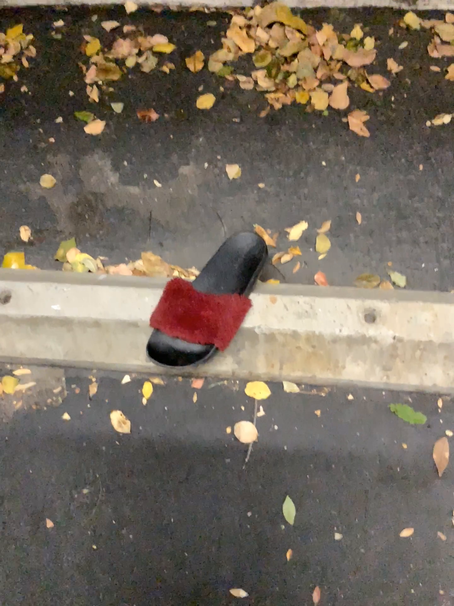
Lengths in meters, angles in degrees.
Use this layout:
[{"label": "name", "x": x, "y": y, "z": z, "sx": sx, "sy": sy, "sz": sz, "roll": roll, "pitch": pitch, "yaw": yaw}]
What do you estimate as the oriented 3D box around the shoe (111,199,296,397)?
[{"label": "shoe", "x": -0.029, "y": -0.016, "z": 0.769, "sx": 0.140, "sy": 0.050, "sz": 0.280, "roll": 30, "pitch": 70, "yaw": 17}]
